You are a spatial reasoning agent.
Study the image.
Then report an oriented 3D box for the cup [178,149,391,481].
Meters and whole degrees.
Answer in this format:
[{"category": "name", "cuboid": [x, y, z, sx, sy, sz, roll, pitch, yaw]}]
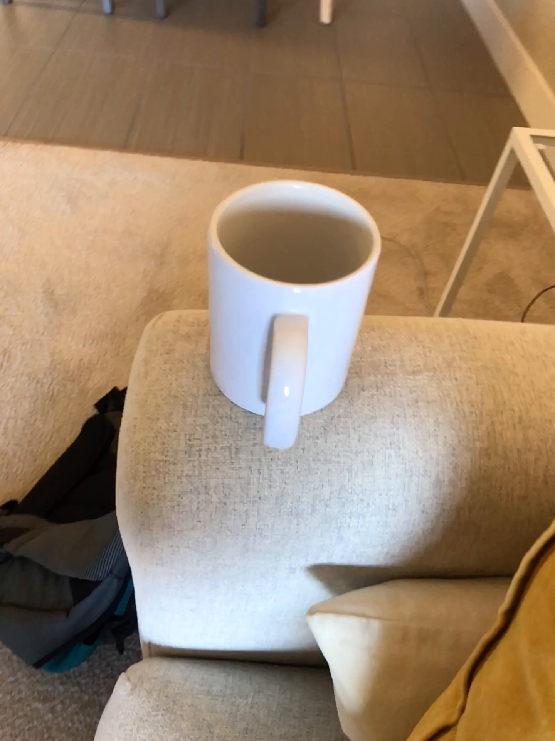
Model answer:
[{"category": "cup", "cuboid": [0.002, -0.028, 0.306, 0.080, 0.100, 0.120, 7, 49, -2]}]
